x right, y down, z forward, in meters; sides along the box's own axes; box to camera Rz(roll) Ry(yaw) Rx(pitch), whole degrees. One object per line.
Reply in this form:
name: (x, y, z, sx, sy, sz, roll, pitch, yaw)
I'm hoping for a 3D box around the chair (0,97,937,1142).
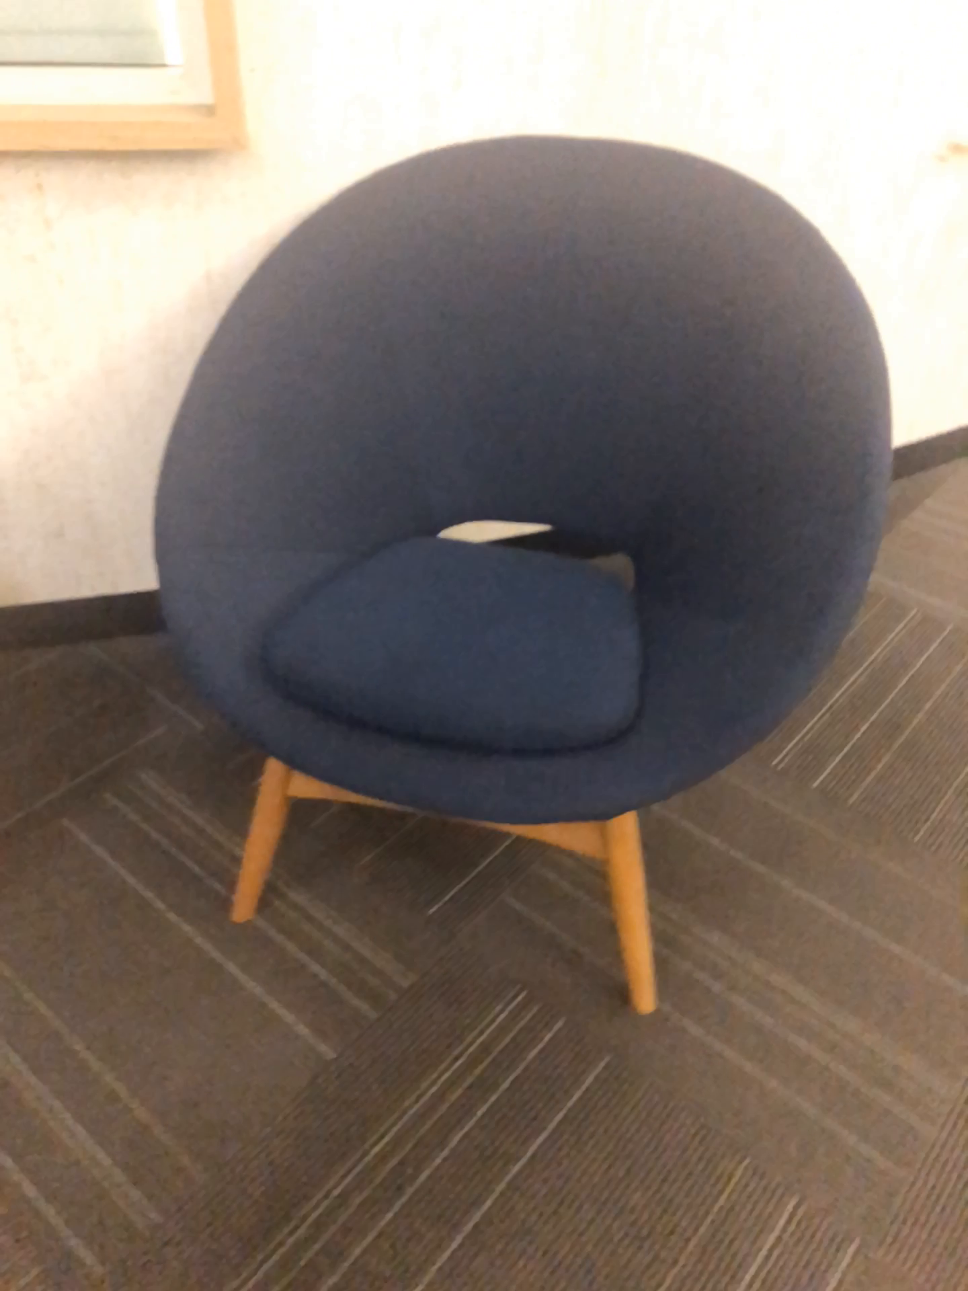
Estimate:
chair: (0.037, -0.169, 1.545, 0.890, 0.992, 1.008, 13, 32, 14)
